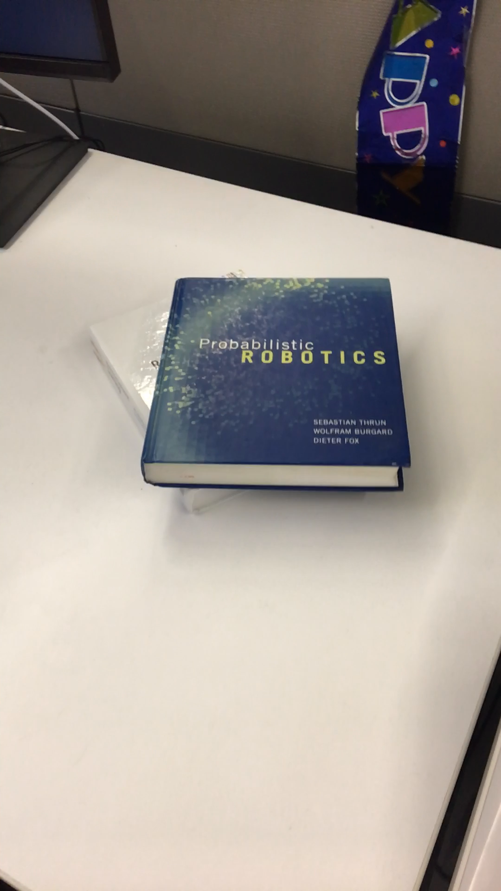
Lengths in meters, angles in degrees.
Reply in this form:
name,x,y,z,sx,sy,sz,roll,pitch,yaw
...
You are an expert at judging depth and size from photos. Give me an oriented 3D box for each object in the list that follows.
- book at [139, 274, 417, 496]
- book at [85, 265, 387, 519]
name,x,y,z,sx,sy,sz,roll,pitch,yaw
book,0.025,-0.062,0.653,0.210,0.030,0.240,0,50,4
book,-0.021,-0.065,0.702,0.190,0.030,0.240,-24,53,-16
